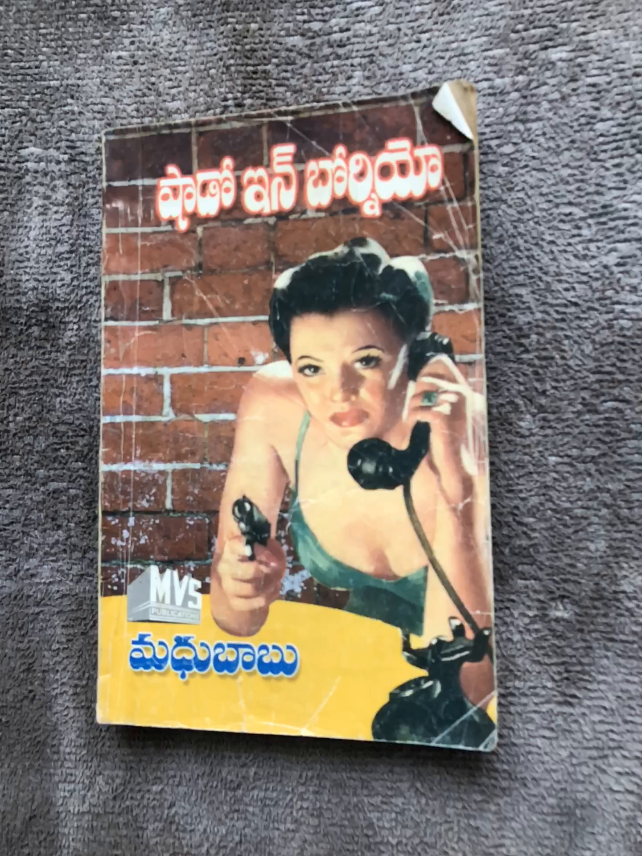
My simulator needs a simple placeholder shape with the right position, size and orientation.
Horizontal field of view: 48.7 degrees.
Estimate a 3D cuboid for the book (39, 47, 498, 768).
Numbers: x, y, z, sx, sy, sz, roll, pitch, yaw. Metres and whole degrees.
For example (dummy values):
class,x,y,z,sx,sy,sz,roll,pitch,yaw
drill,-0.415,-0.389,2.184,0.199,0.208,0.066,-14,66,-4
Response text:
class,x,y,z,sx,sy,sz,roll,pitch,yaw
book,-0.011,-0.005,0.175,0.100,0.040,0.150,-1,87,9
